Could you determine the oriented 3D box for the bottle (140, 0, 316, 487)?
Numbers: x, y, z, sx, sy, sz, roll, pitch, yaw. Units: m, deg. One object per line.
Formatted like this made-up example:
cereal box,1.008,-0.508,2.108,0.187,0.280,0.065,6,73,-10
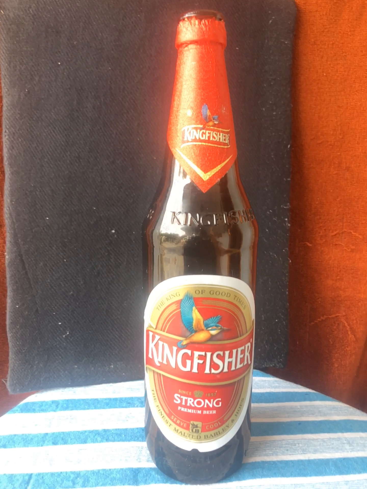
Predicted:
bottle,0.018,0.004,0.260,0.080,0.289,0.070,2,13,-1
